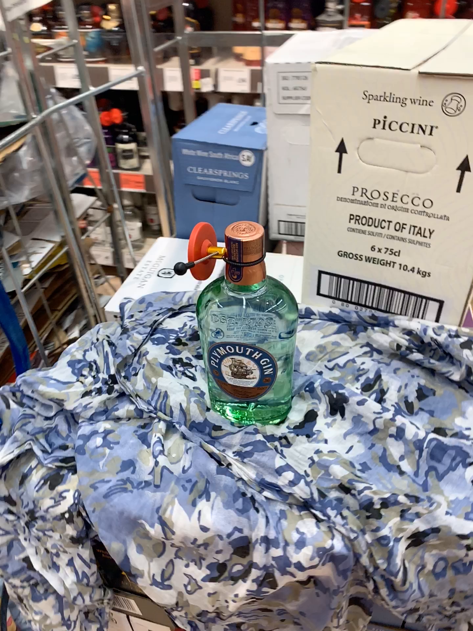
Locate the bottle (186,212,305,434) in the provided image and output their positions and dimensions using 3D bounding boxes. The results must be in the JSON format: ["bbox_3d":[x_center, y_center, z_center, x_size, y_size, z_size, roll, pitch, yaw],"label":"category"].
[{"bbox_3d":[0.013,0.016,0.501,0.094,0.228,0.058,8,38,14],"label":"bottle"}]
